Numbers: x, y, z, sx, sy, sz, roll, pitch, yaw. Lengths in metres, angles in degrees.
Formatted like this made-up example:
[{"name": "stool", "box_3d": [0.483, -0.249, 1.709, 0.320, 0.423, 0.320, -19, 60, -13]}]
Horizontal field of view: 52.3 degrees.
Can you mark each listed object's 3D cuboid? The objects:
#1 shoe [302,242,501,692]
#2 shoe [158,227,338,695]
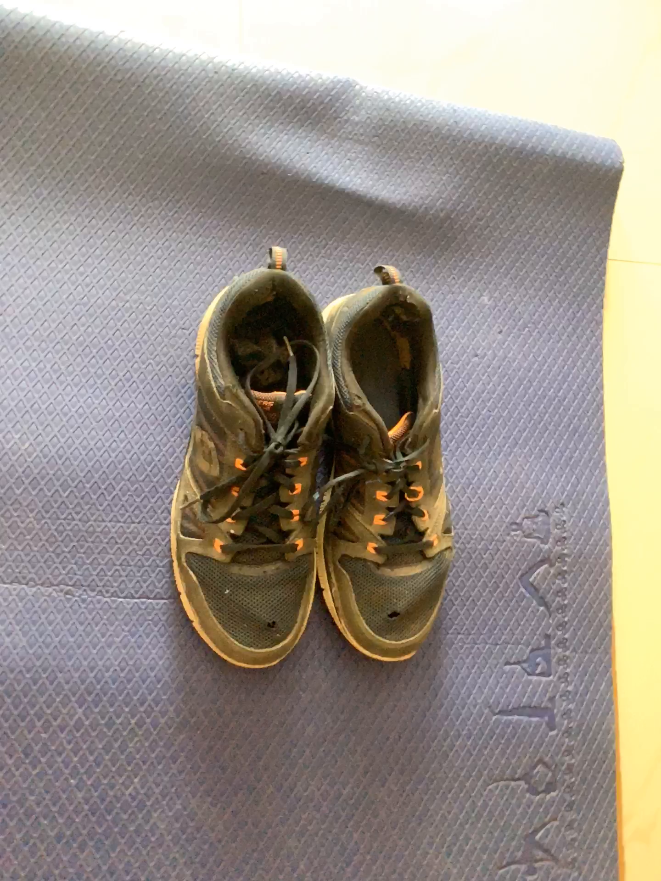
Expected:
[{"name": "shoe", "box_3d": [0.047, 0.018, 0.523, 0.110, 0.100, 0.310, 0, 82, -13]}, {"name": "shoe", "box_3d": [-0.064, 0.016, 0.520, 0.100, 0.100, 0.320, 6, 80, -19]}]
